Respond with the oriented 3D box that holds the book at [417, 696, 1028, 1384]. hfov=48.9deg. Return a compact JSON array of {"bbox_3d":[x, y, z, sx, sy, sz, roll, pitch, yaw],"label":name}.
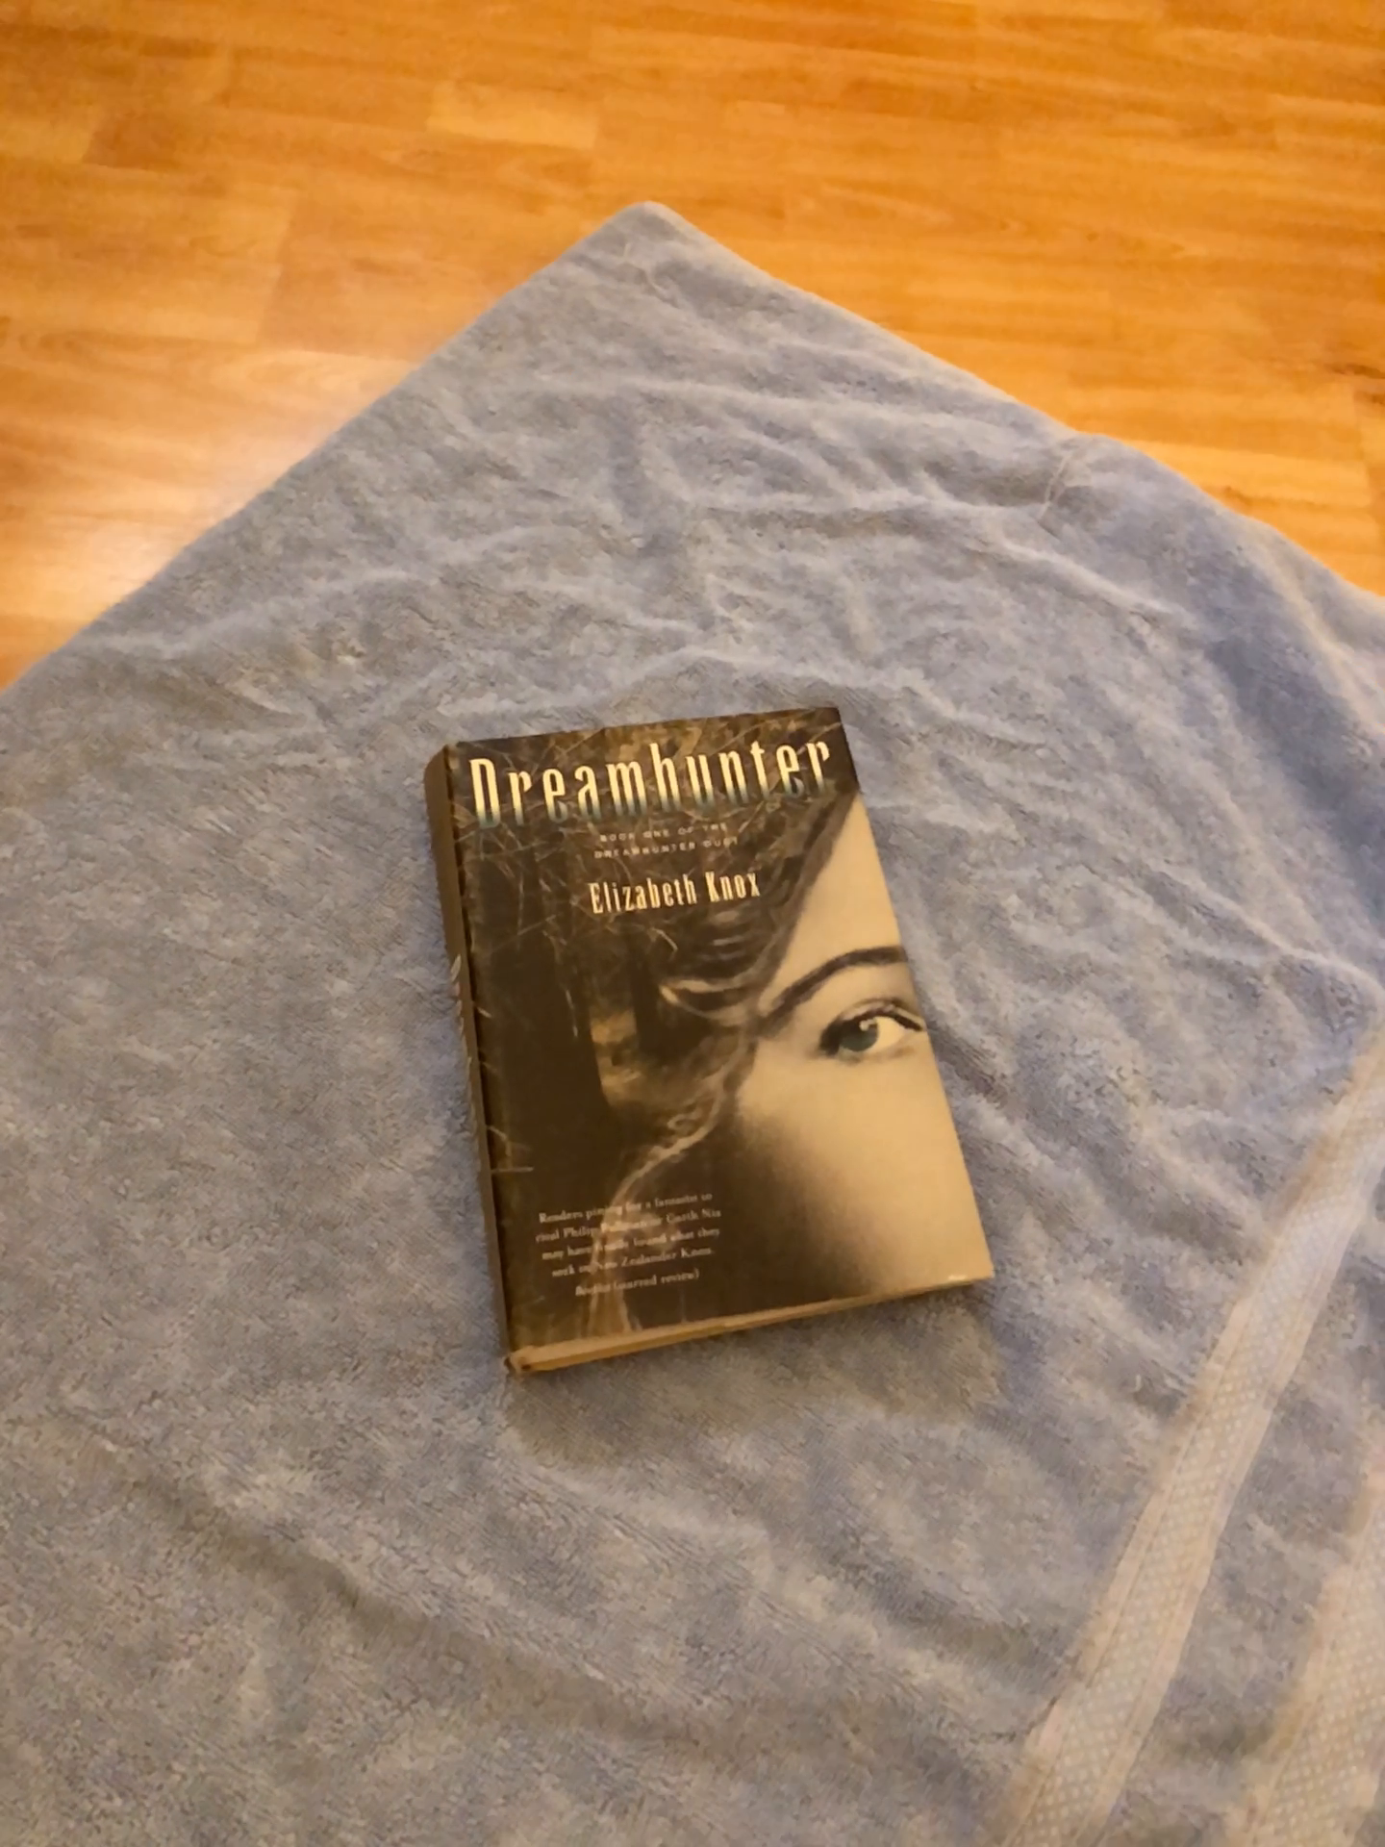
[{"bbox_3d":[0.000,0.027,0.522,0.163,0.030,0.225,-7,59,-9],"label":"book"}]
